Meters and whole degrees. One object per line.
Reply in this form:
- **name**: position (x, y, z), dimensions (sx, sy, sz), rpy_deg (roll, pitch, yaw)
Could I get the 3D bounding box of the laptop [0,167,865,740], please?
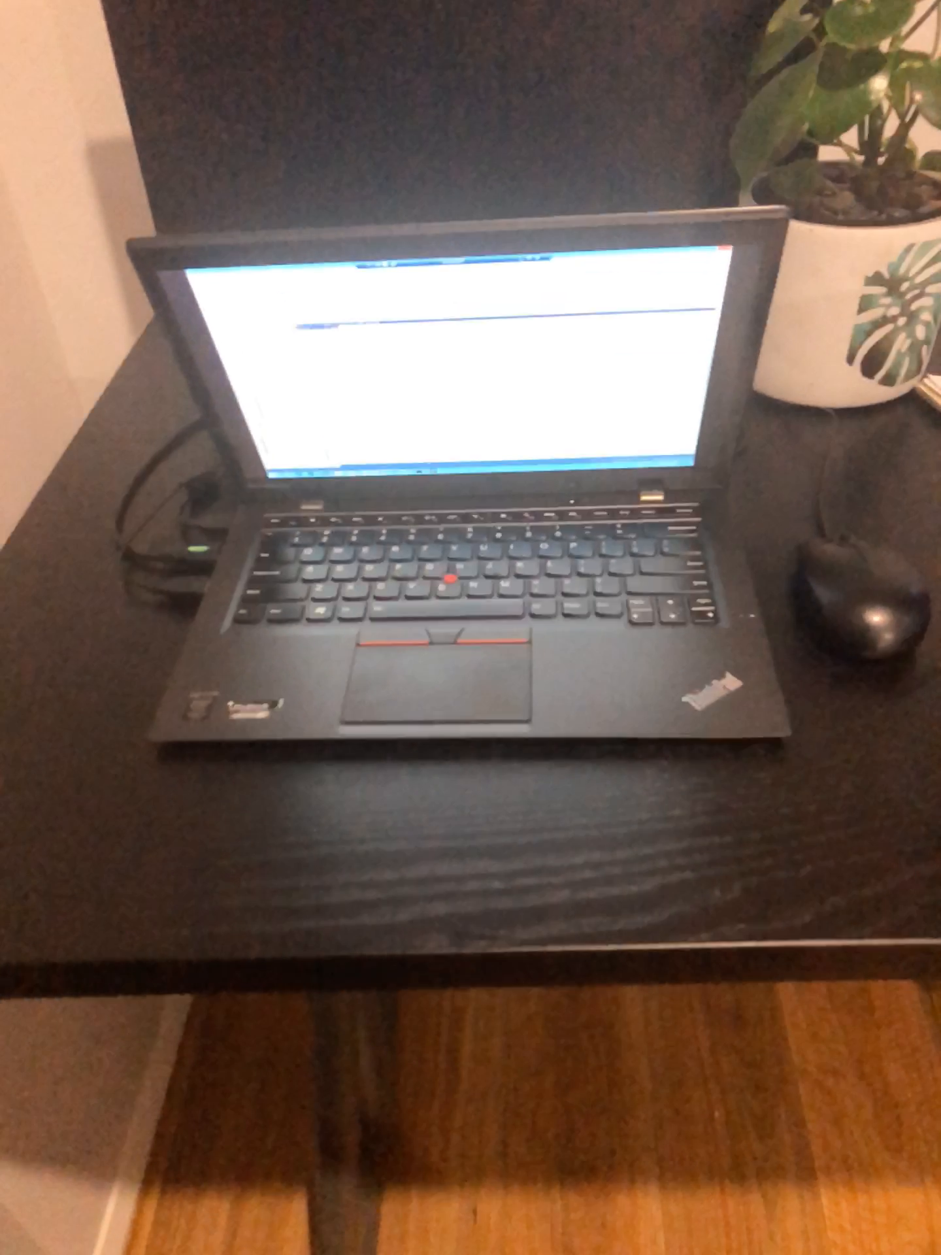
- **laptop**: position (-0.010, -0.100, 0.565), dimensions (0.340, 0.214, 0.245), rpy_deg (-1, 37, 5)
